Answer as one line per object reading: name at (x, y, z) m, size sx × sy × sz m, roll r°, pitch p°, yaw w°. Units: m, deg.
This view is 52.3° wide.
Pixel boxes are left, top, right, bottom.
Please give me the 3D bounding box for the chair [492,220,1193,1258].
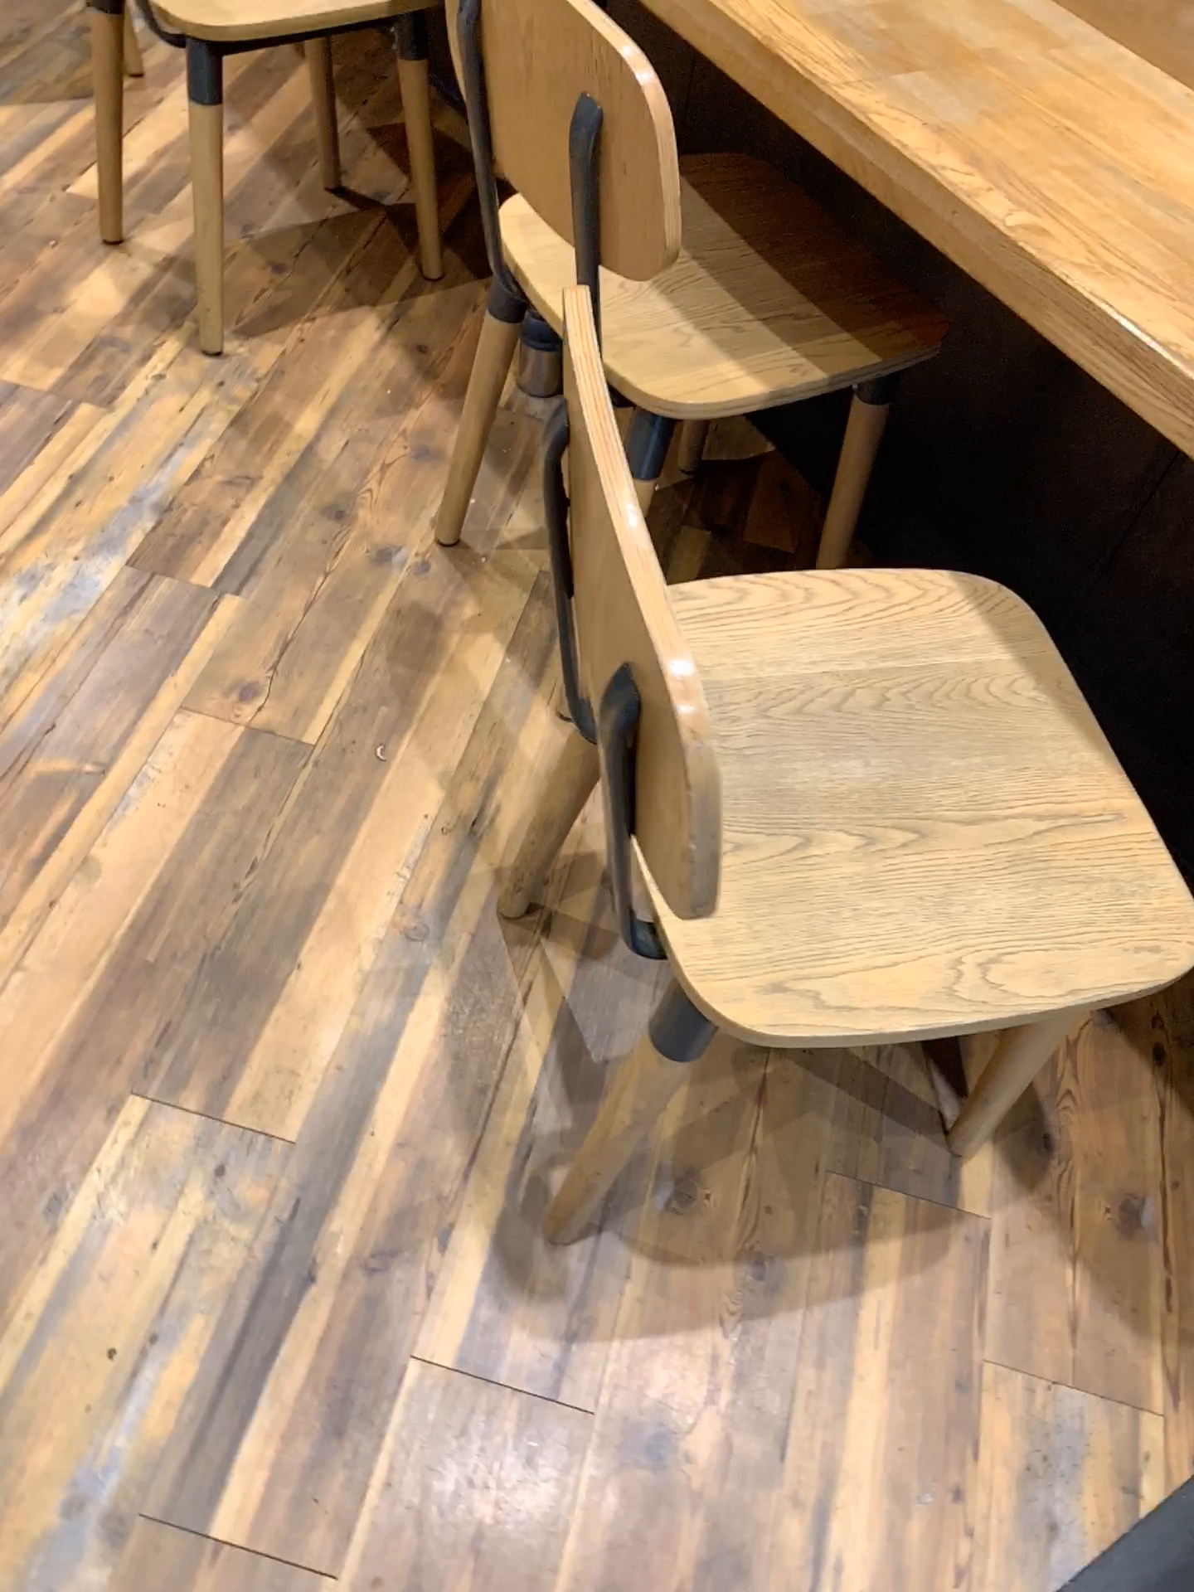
chair at (0.208, -0.001, 0.934) m, size 0.500 × 0.685 × 0.413 m, roll -5°, pitch 53°, yaw -11°
